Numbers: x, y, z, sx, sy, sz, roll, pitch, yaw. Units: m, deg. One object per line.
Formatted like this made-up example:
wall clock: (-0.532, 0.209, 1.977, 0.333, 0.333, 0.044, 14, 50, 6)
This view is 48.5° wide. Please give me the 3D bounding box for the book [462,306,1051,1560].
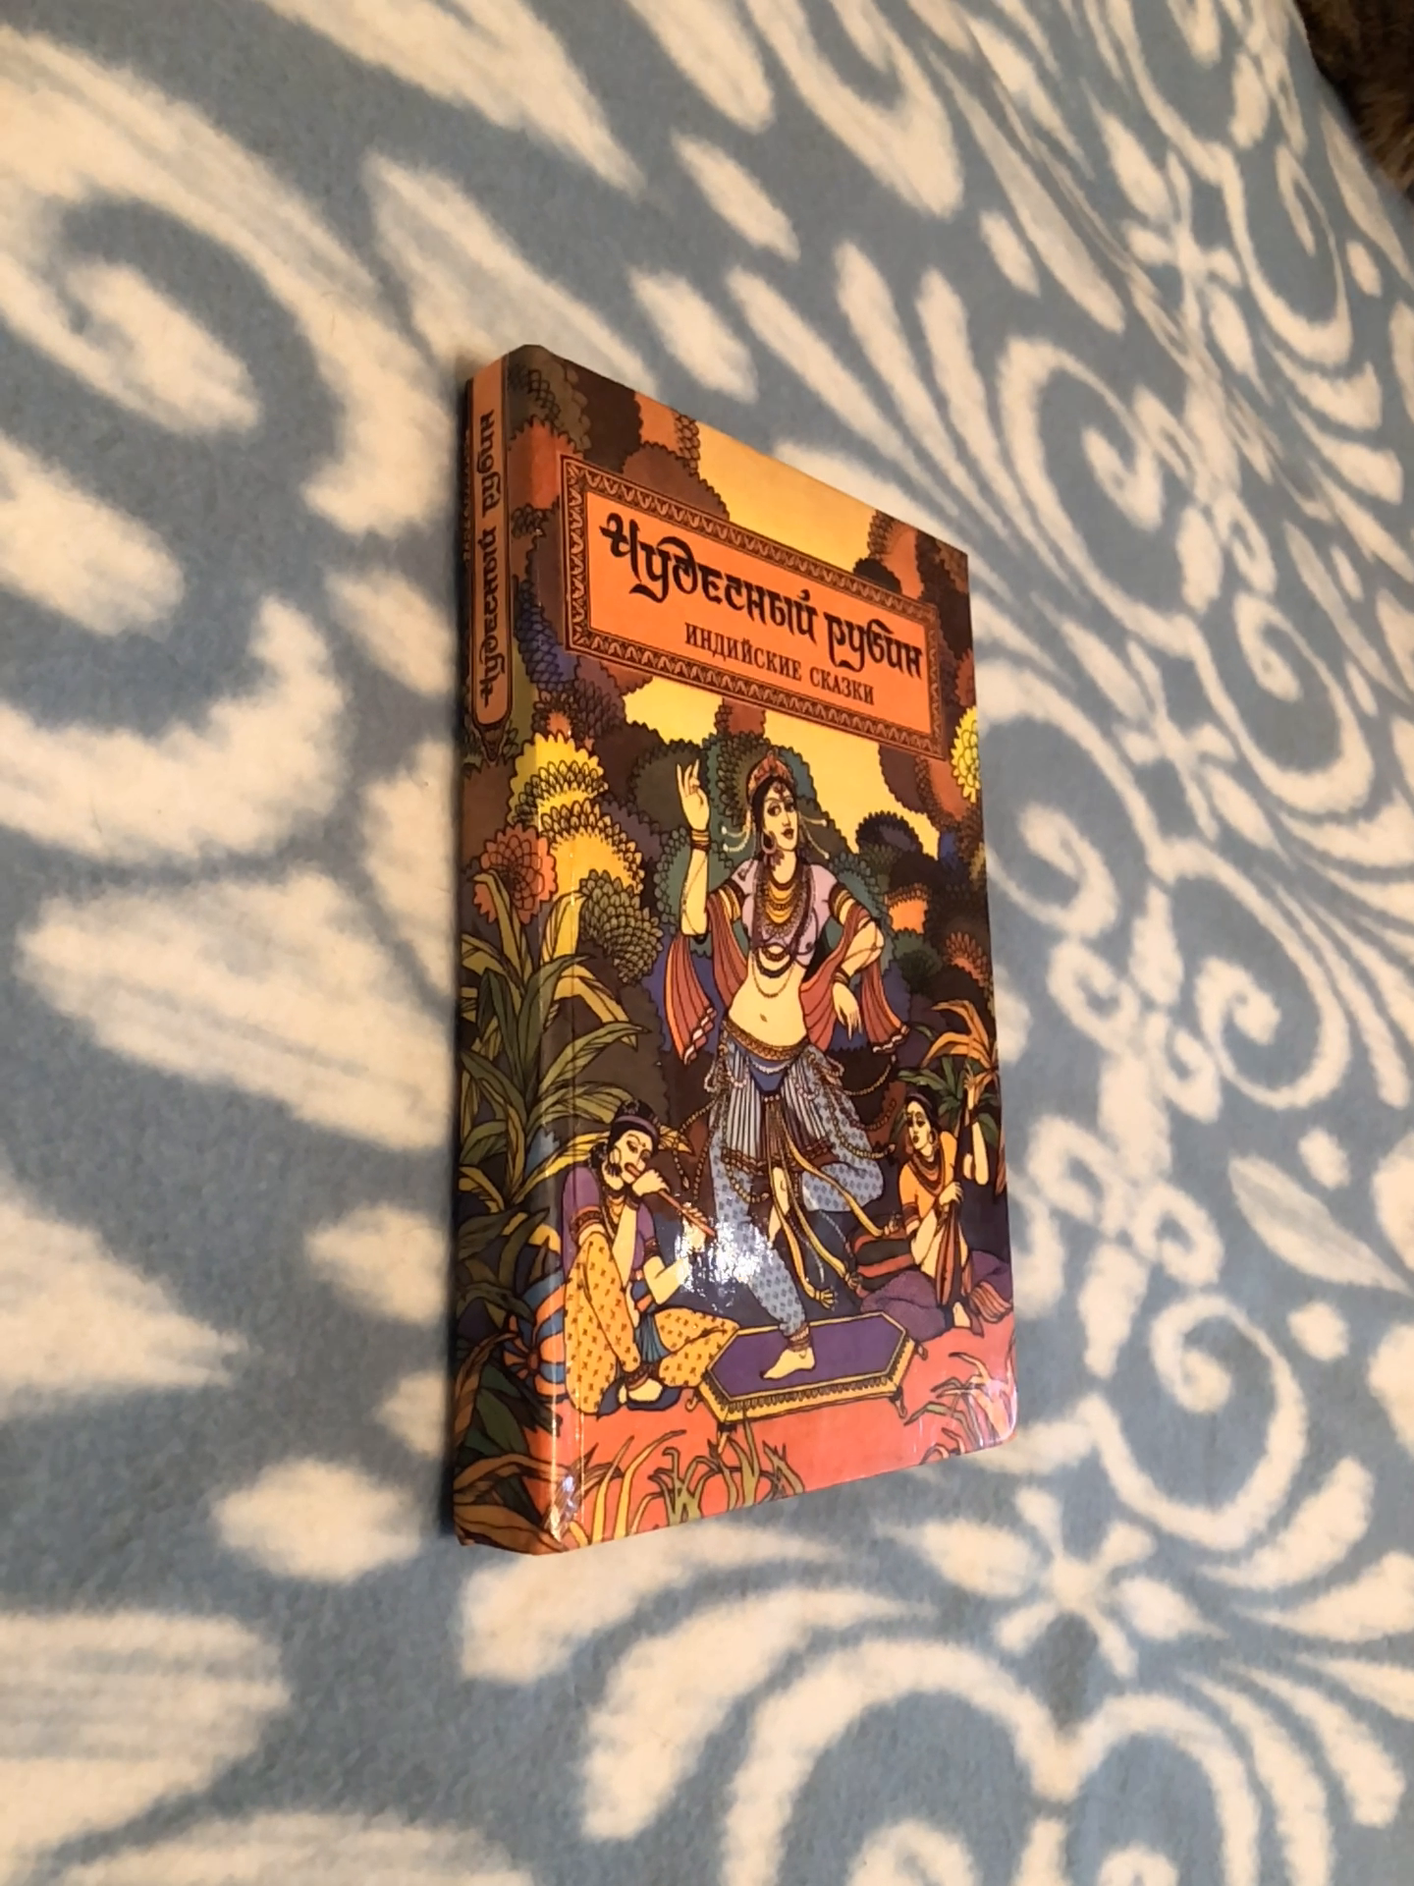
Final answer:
book: (0.016, 0.000, 0.319, 0.140, 0.027, 0.210, 8, 77, -46)
